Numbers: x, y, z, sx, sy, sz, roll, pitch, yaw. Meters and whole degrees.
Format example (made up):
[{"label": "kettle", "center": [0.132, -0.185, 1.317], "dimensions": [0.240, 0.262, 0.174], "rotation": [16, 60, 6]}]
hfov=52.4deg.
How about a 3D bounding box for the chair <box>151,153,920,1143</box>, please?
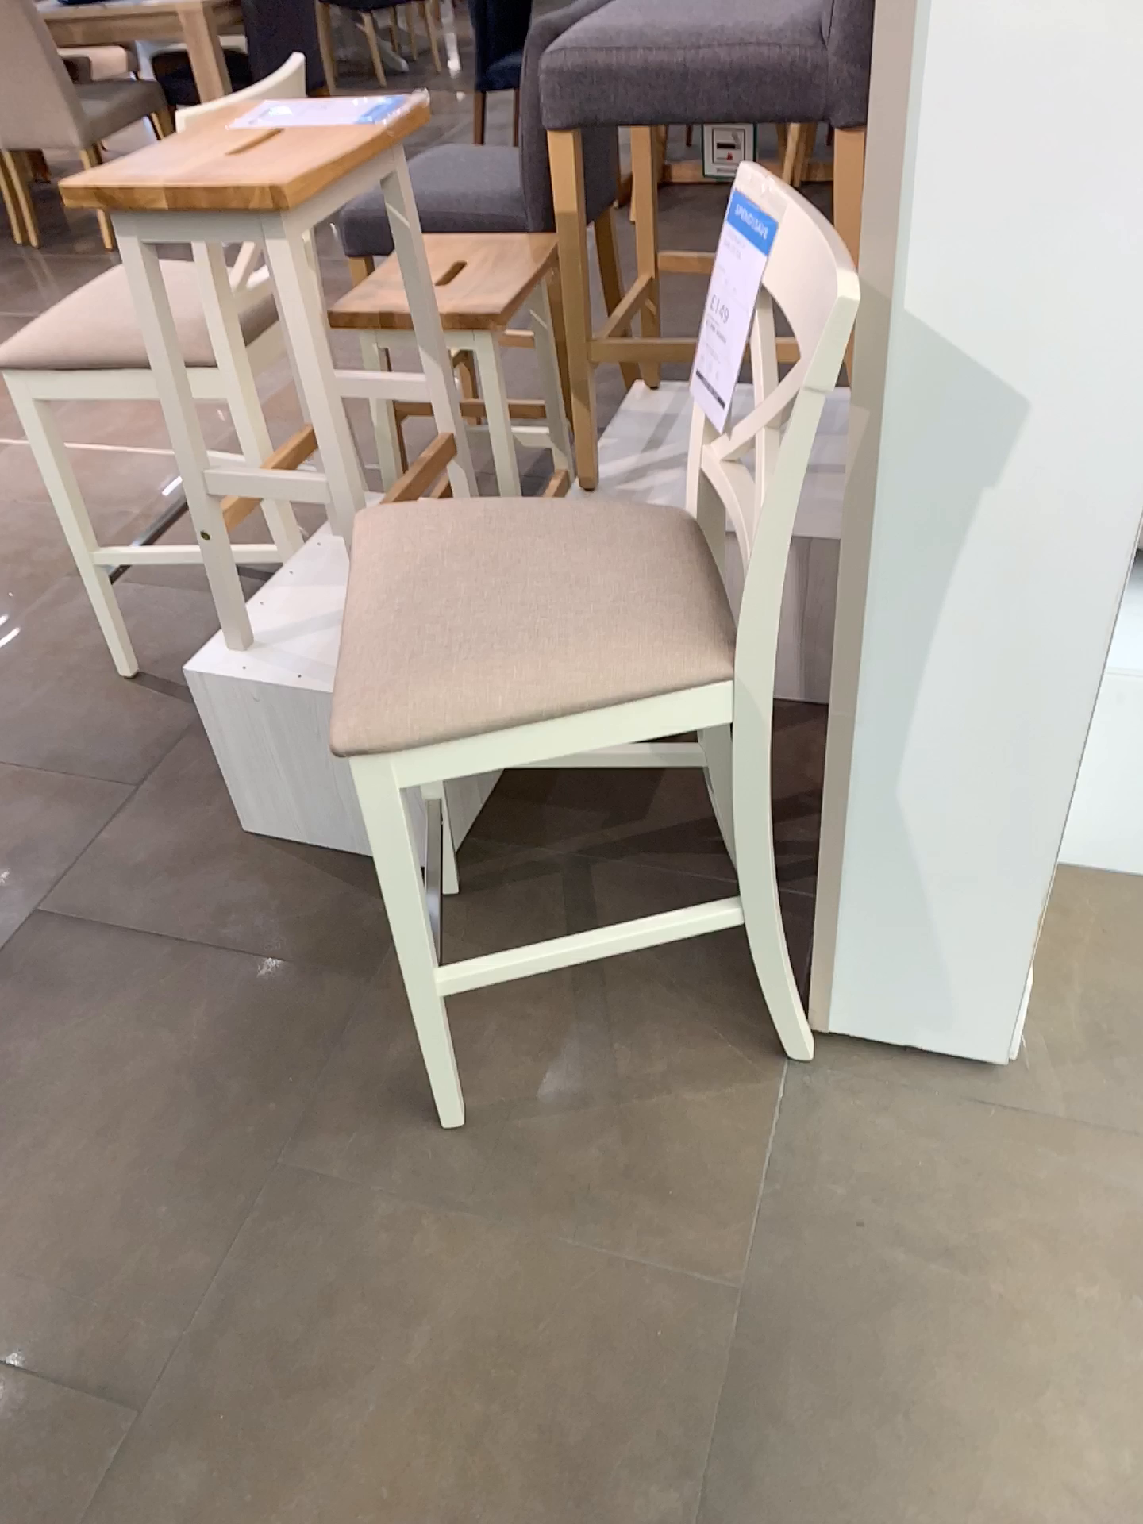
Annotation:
[{"label": "chair", "center": [0.002, -0.071, 1.280], "dimensions": [0.537, 0.938, 0.454], "rotation": [-6, 40, 0]}]
